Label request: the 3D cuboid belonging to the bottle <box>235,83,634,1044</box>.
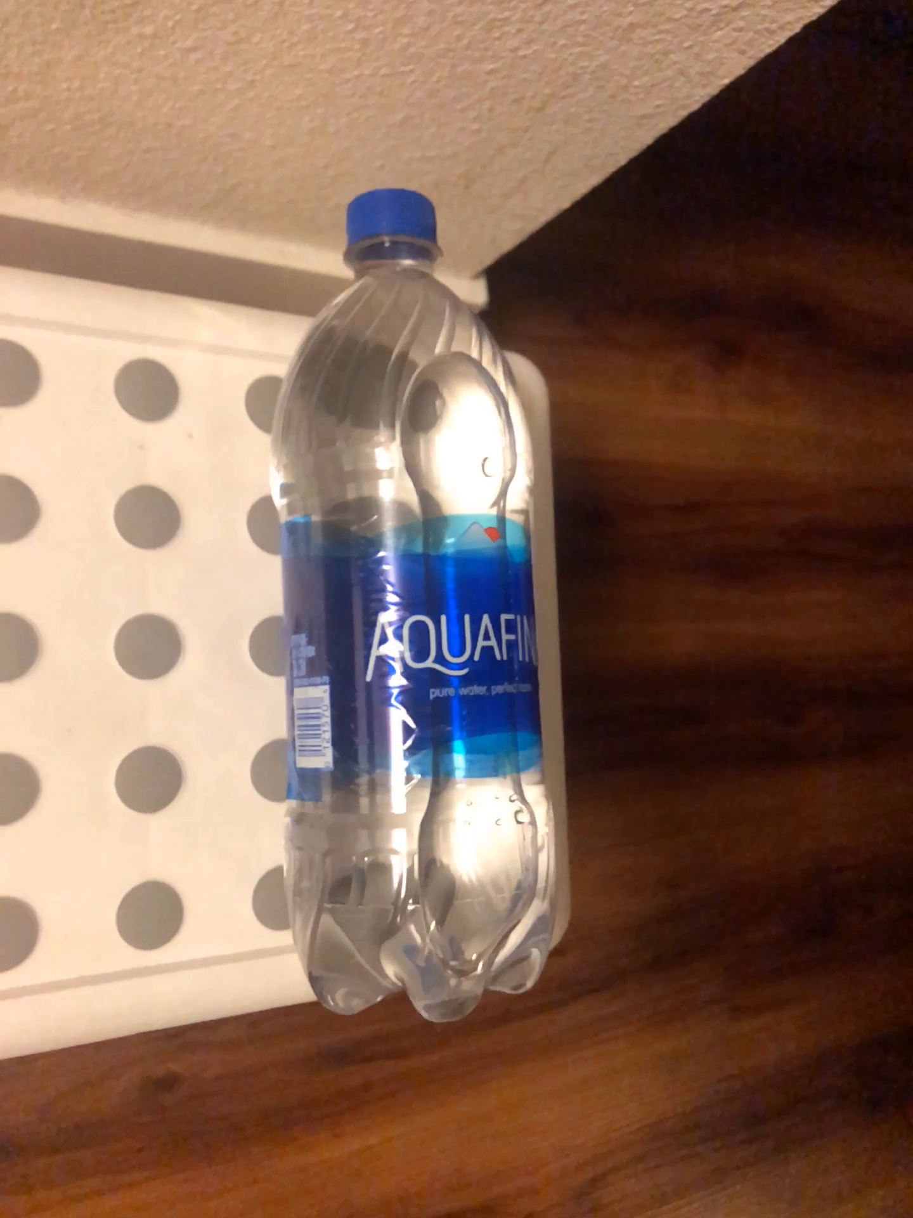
[{"bbox_3d":[-0.012,-0.012,0.318,0.090,0.080,0.250,2,82,-30],"label":"bottle"}]
